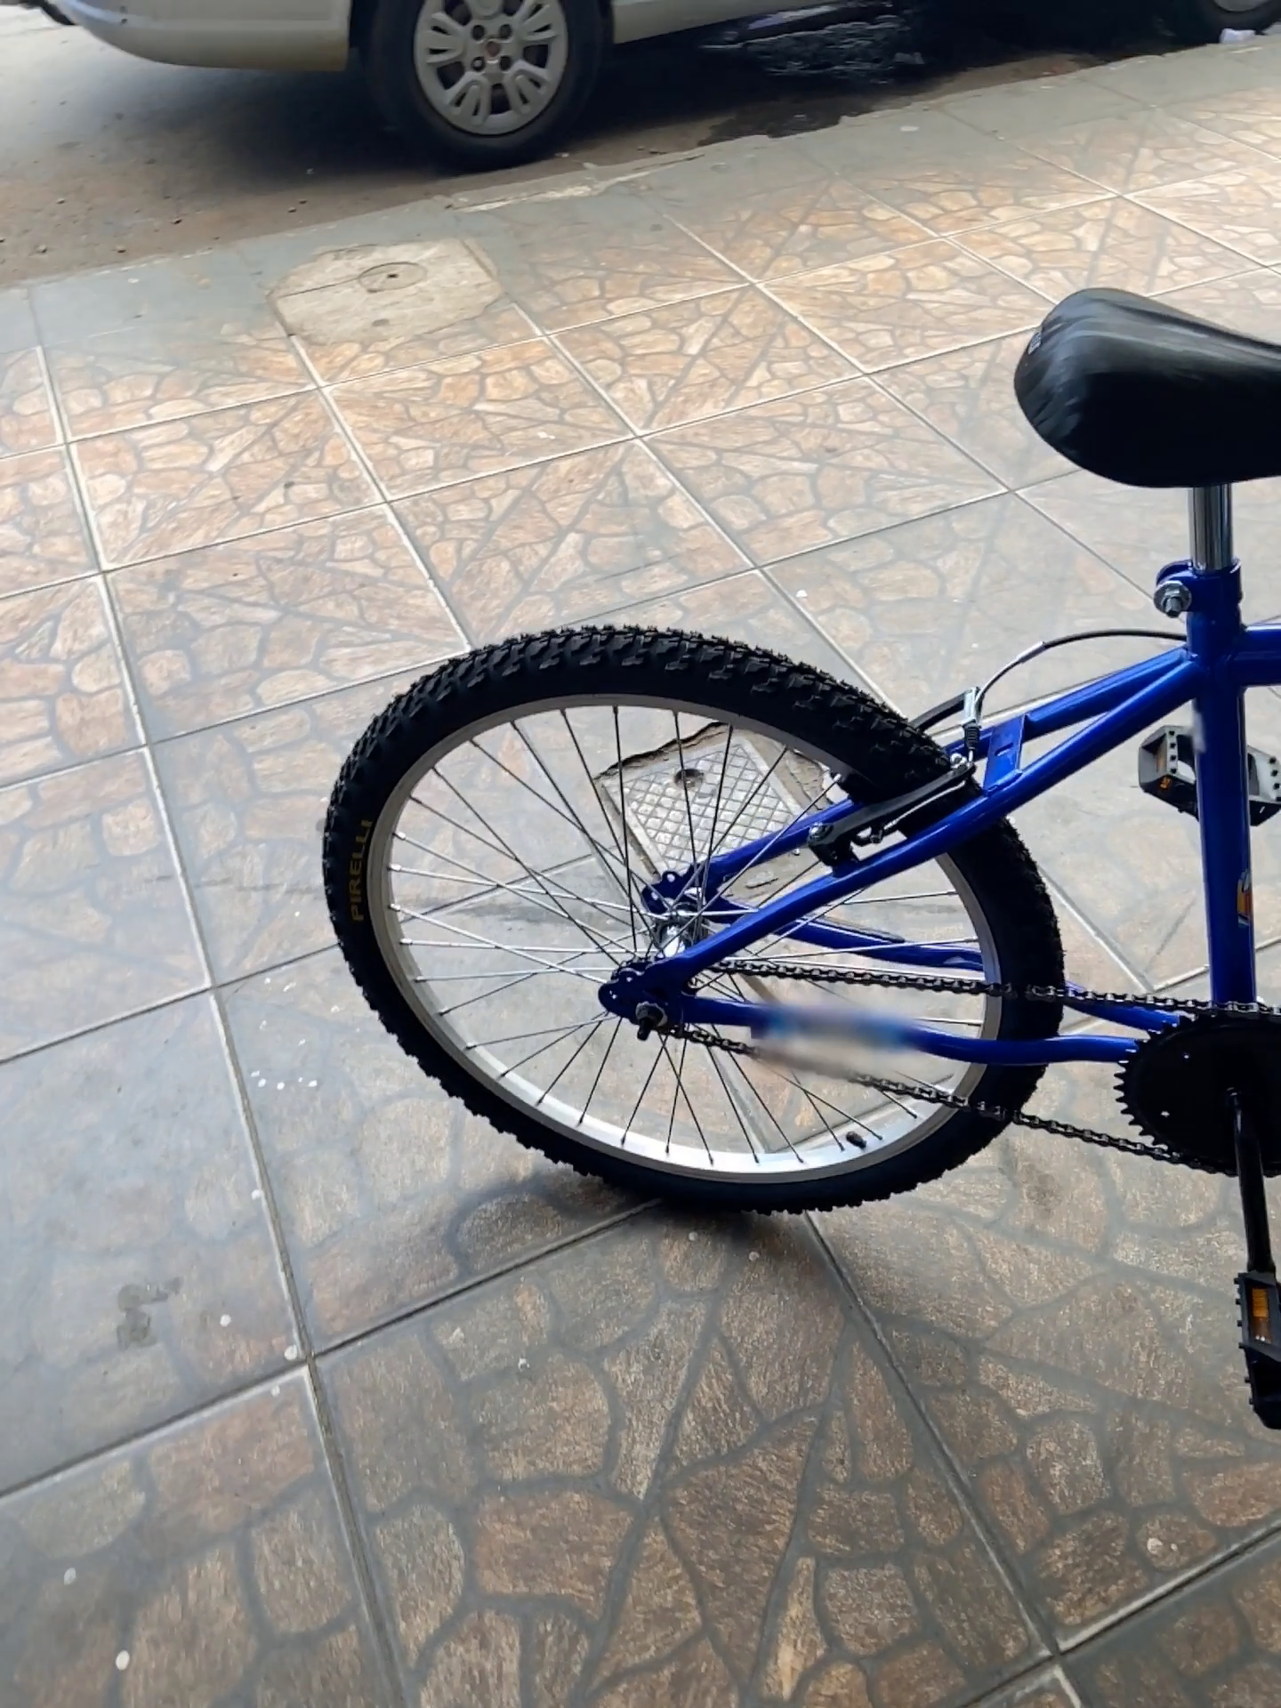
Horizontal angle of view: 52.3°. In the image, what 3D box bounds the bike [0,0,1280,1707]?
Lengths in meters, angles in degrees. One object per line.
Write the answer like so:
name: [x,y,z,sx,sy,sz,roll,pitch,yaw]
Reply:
bike: [0.438,0.030,0.744,1.487,0.923,0.625,11,50,17]
